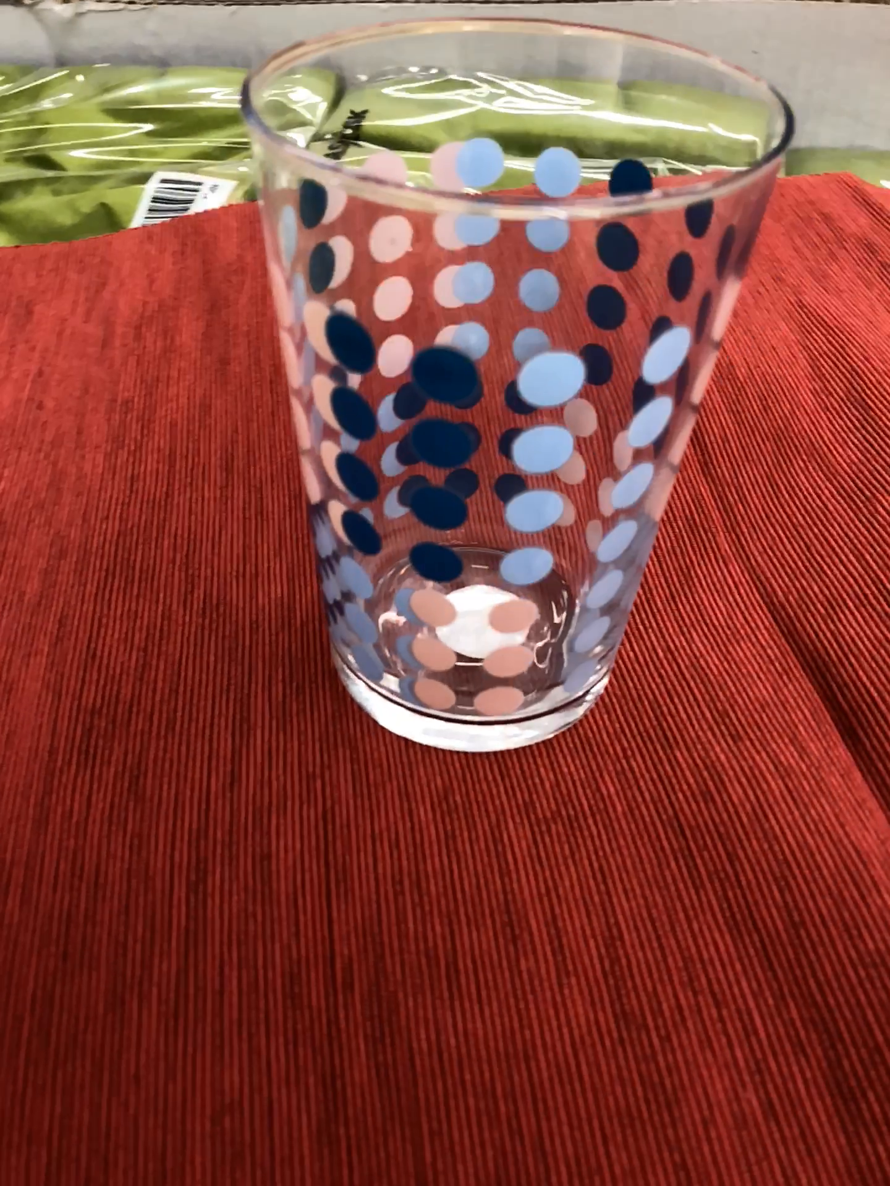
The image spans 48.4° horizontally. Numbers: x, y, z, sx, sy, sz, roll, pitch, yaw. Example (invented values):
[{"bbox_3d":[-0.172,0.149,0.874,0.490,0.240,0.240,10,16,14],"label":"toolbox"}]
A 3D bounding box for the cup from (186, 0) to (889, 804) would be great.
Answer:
[{"bbox_3d":[0.012,-0.035,0.190,0.090,0.120,0.090,0,43,0],"label":"cup"}]
